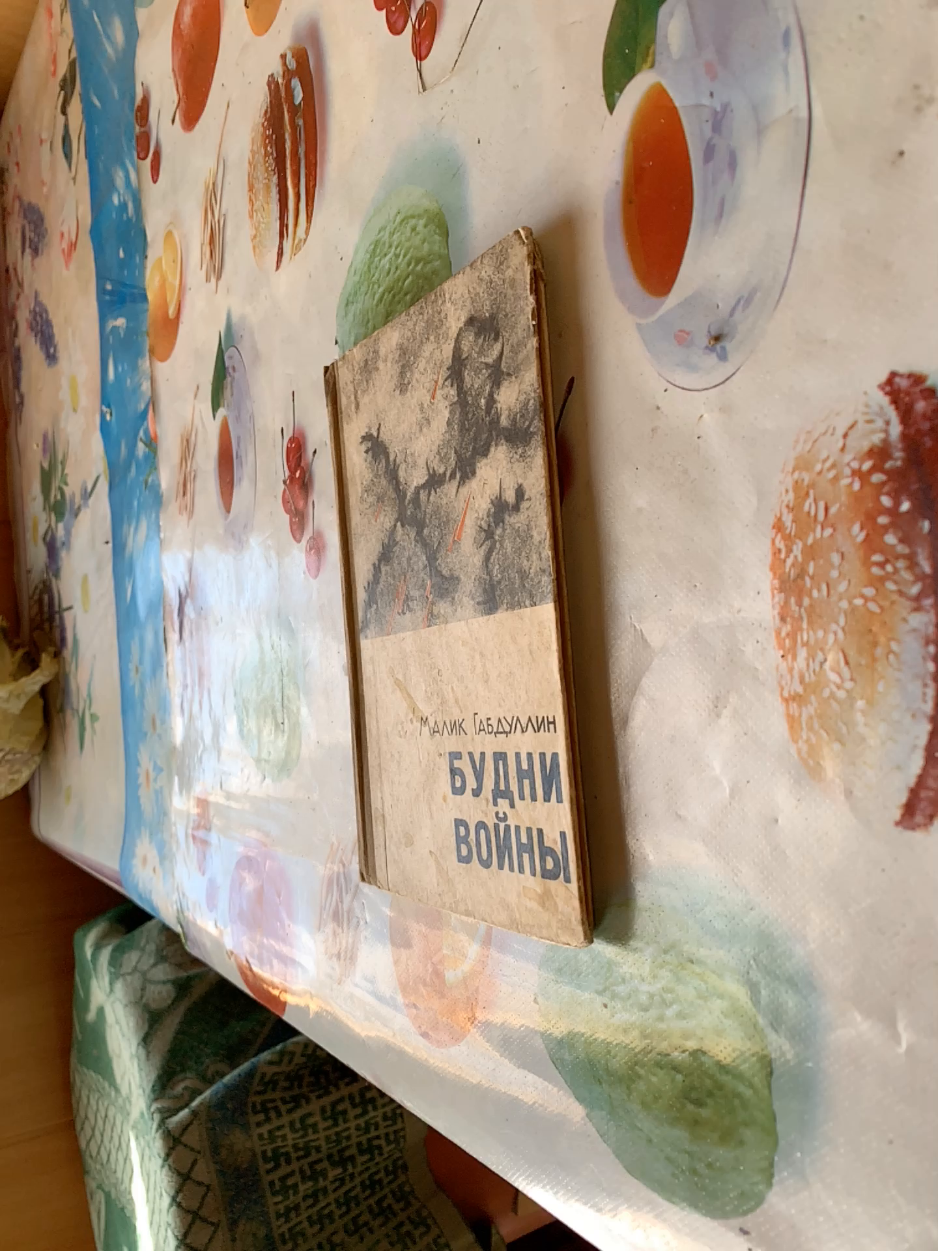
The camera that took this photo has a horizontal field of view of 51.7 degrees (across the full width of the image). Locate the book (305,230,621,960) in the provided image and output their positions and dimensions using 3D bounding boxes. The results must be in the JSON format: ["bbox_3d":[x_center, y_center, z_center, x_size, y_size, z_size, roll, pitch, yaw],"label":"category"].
[{"bbox_3d":[-0.011,-0.005,0.320,0.137,0.018,0.196,-9,84,56],"label":"book"}]
